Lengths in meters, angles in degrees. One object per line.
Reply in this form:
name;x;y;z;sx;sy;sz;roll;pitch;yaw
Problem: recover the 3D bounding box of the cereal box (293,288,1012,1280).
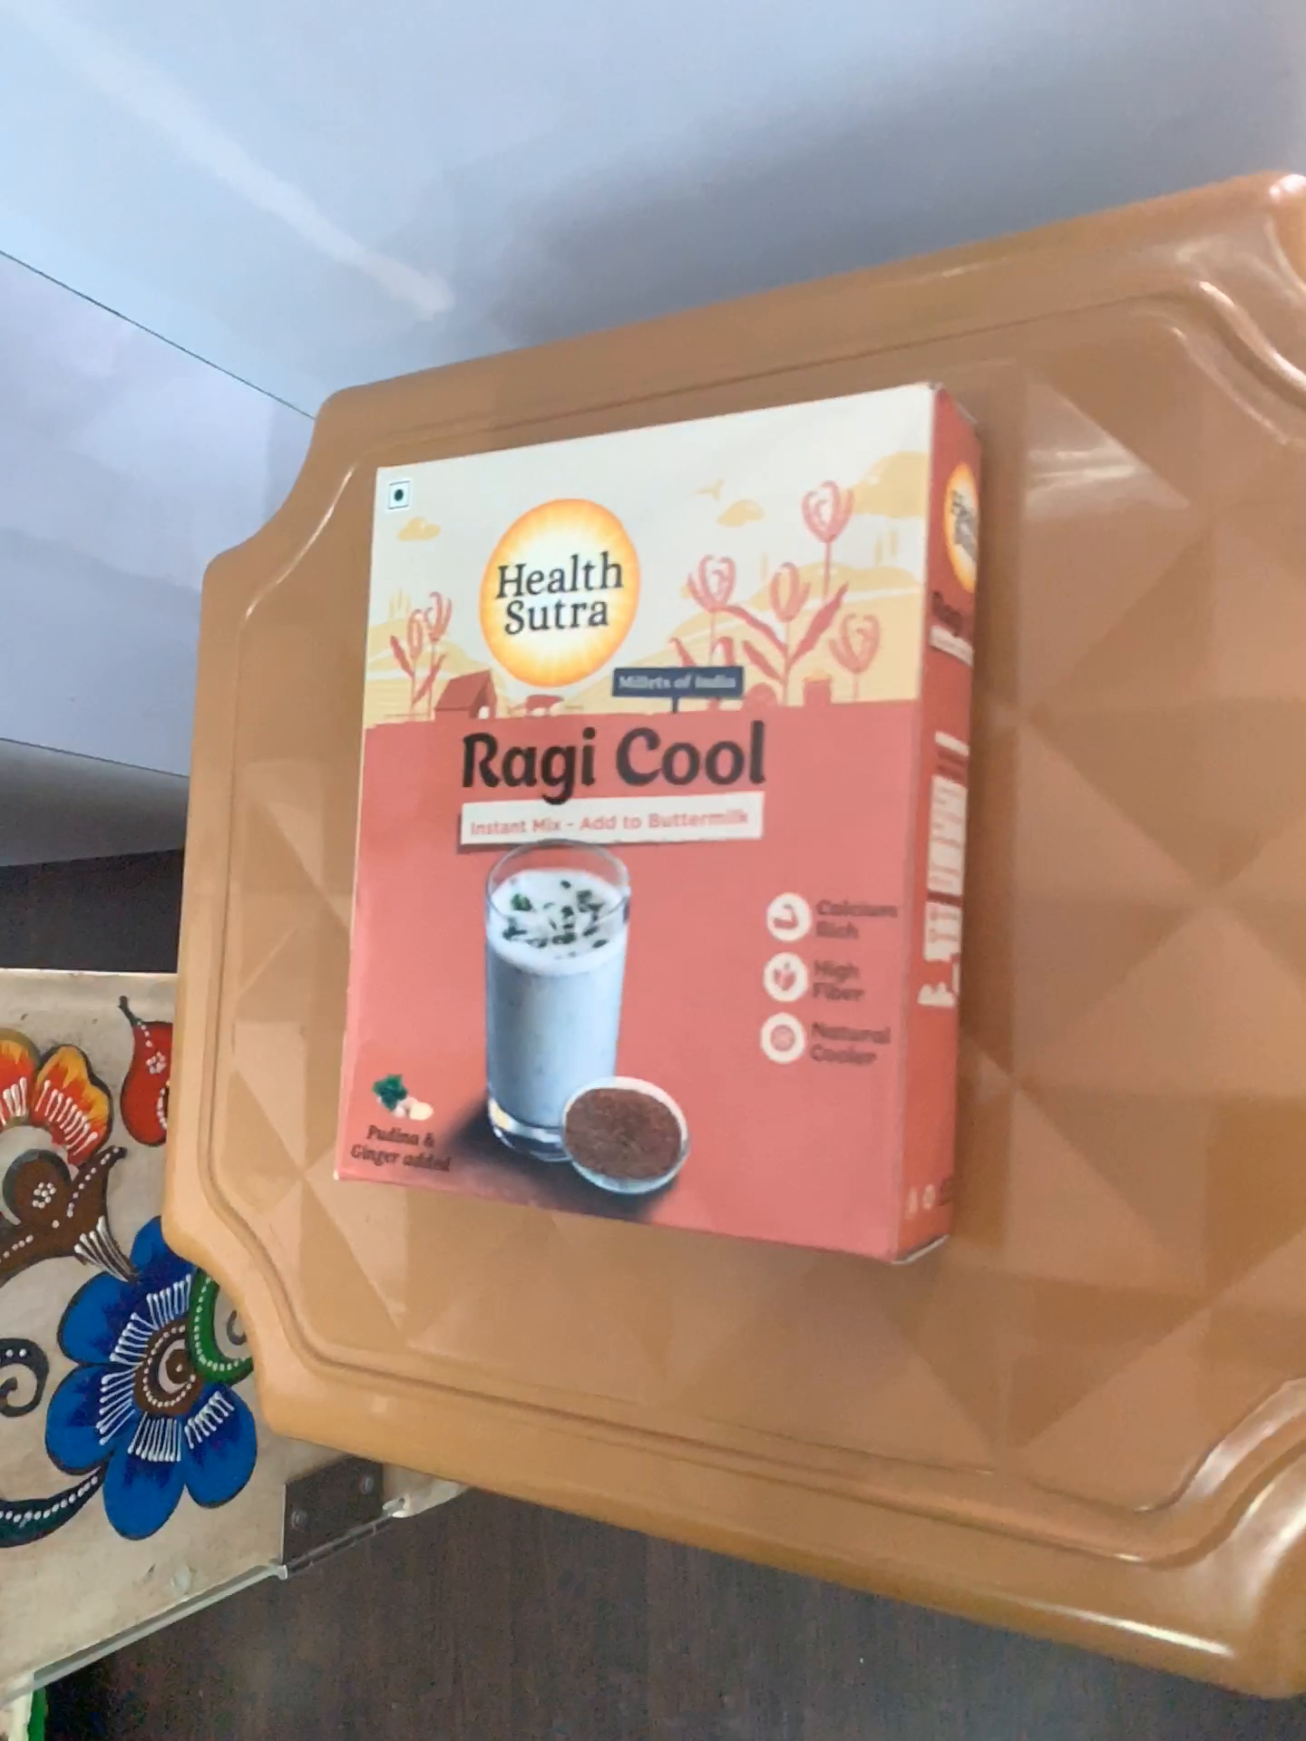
cereal box;-0.003;-0.016;0.279;0.141;0.040;0.170;0;85;29
